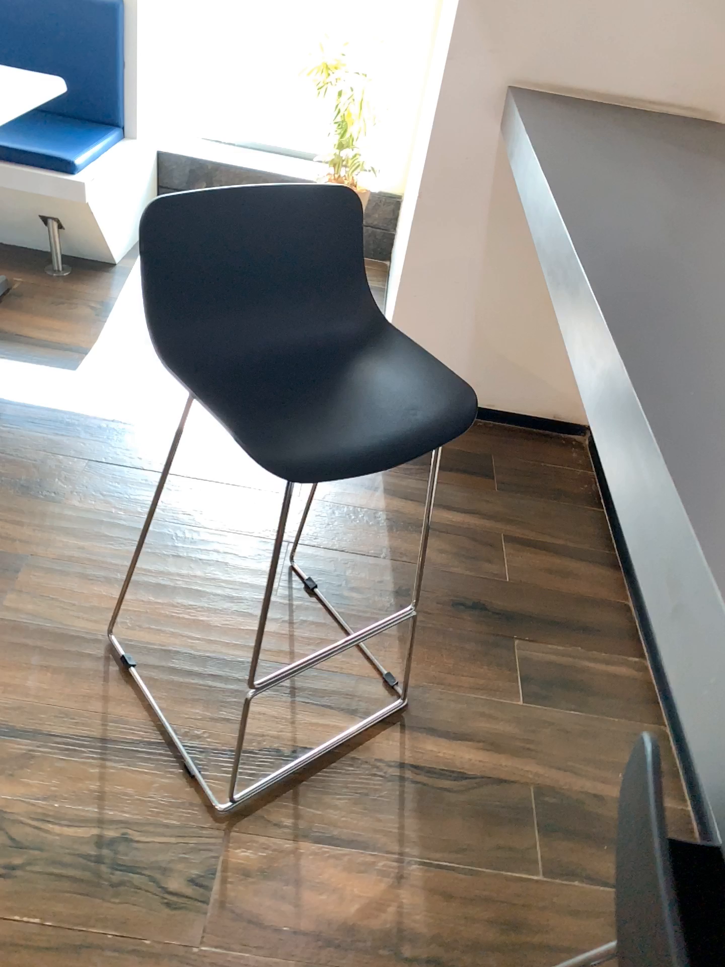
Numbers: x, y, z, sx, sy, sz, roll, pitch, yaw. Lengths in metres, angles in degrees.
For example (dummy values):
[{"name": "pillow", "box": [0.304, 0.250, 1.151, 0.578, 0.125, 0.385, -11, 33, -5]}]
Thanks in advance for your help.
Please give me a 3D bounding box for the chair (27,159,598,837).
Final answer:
[{"name": "chair", "box": [-0.142, 0.000, 1.270, 0.542, 0.863, 0.593, -20, 48, -35]}]
